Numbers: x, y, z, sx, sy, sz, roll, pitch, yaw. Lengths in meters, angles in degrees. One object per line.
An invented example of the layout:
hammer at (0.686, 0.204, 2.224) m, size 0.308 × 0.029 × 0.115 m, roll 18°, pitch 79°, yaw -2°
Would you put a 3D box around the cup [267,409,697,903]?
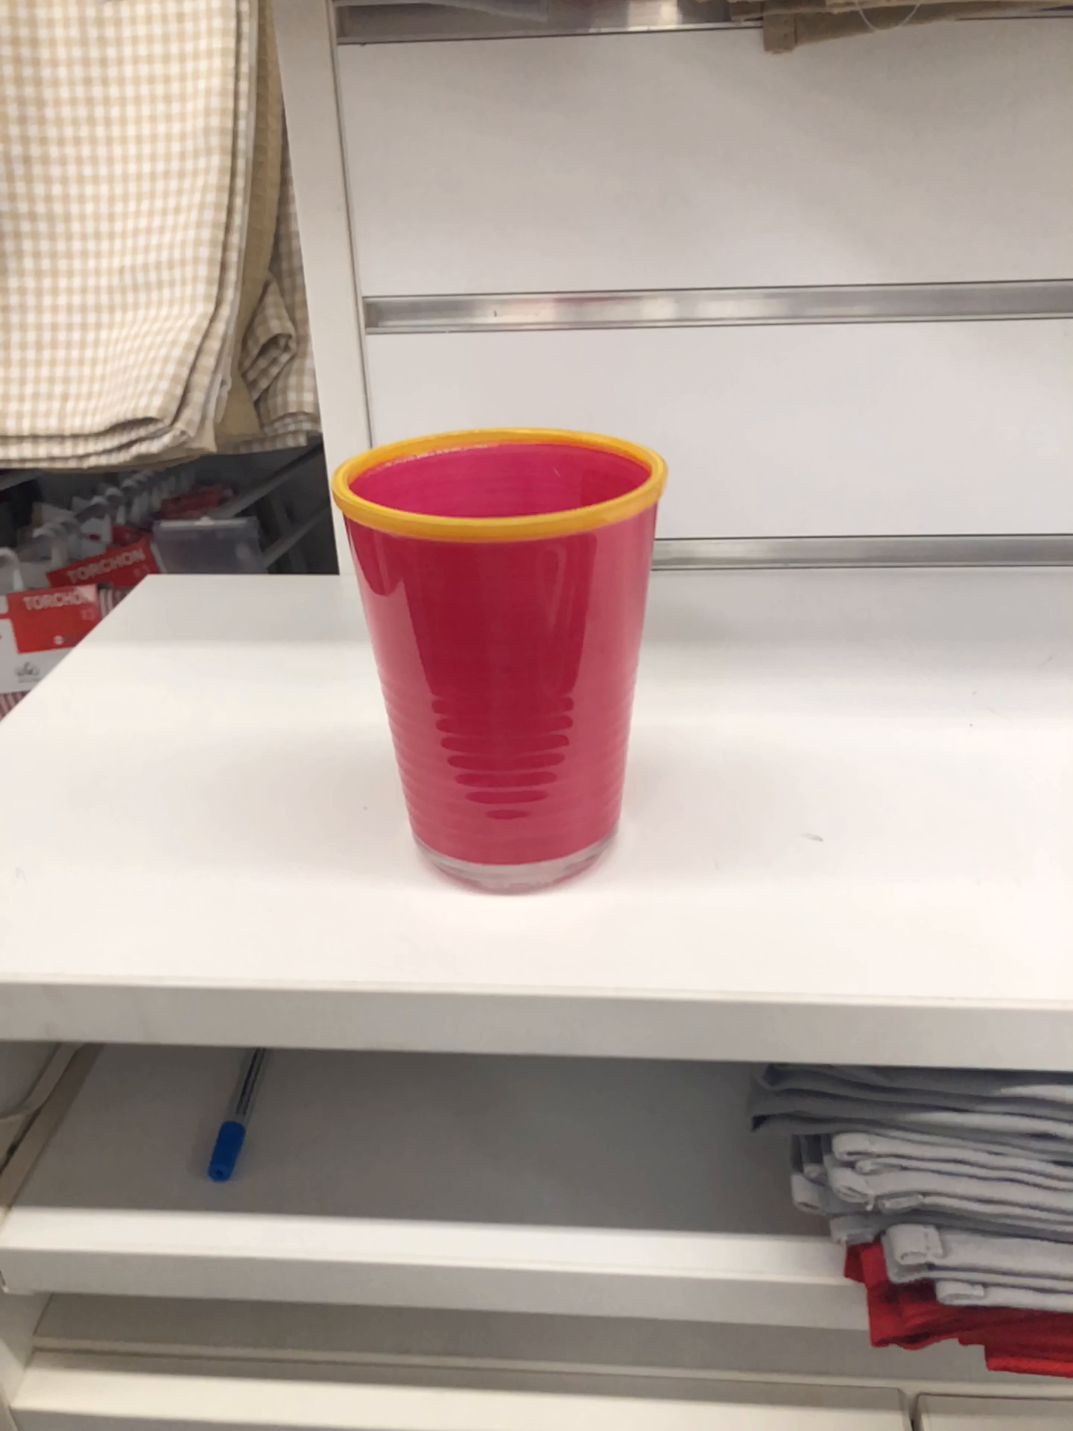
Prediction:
cup at (-0.006, -0.019, 0.291) m, size 0.084 × 0.094 × 0.079 m, roll -2°, pitch 28°, yaw 1°
